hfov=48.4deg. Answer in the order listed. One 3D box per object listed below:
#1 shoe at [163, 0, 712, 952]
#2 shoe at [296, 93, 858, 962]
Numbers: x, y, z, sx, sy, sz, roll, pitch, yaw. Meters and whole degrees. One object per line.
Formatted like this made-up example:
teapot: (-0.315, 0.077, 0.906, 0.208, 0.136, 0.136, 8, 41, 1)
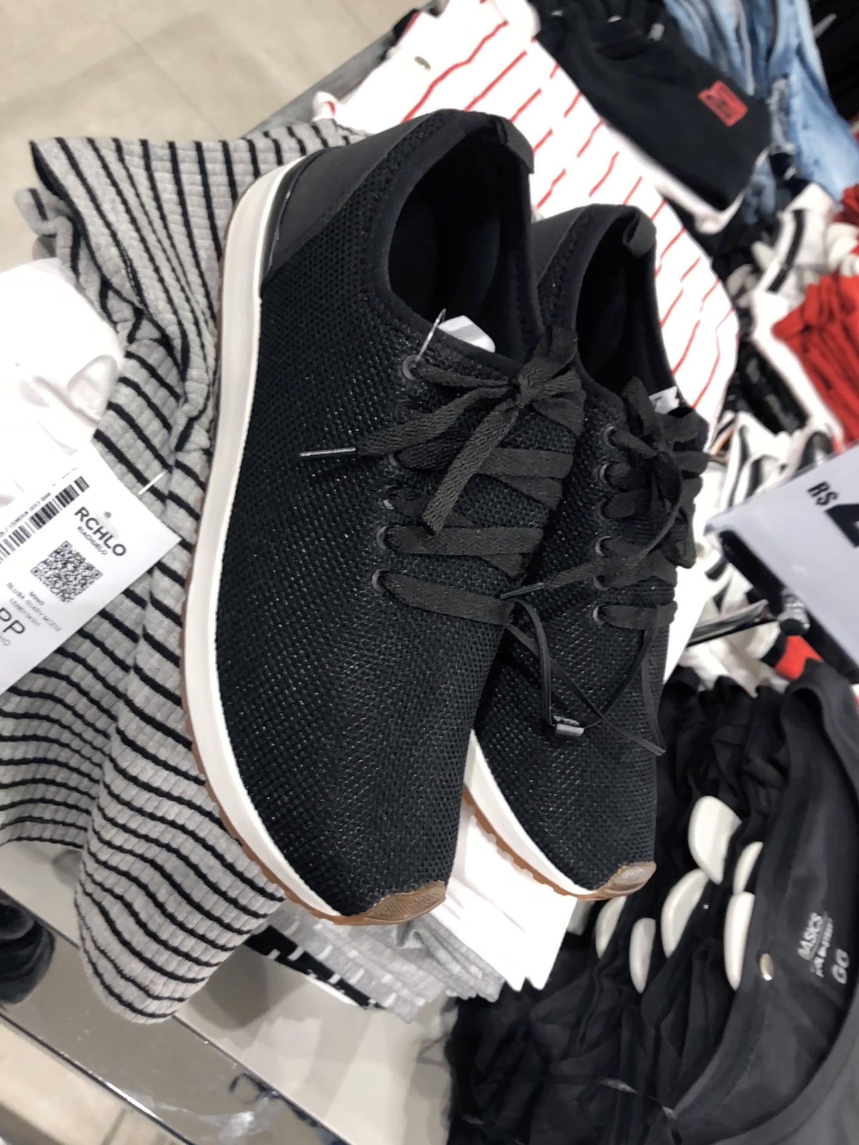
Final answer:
shoe: (-0.009, -0.028, 0.303, 0.101, 0.119, 0.260, 10, 69, -39)
shoe: (0.048, -0.013, 0.358, 0.101, 0.119, 0.270, 2, 67, -41)
